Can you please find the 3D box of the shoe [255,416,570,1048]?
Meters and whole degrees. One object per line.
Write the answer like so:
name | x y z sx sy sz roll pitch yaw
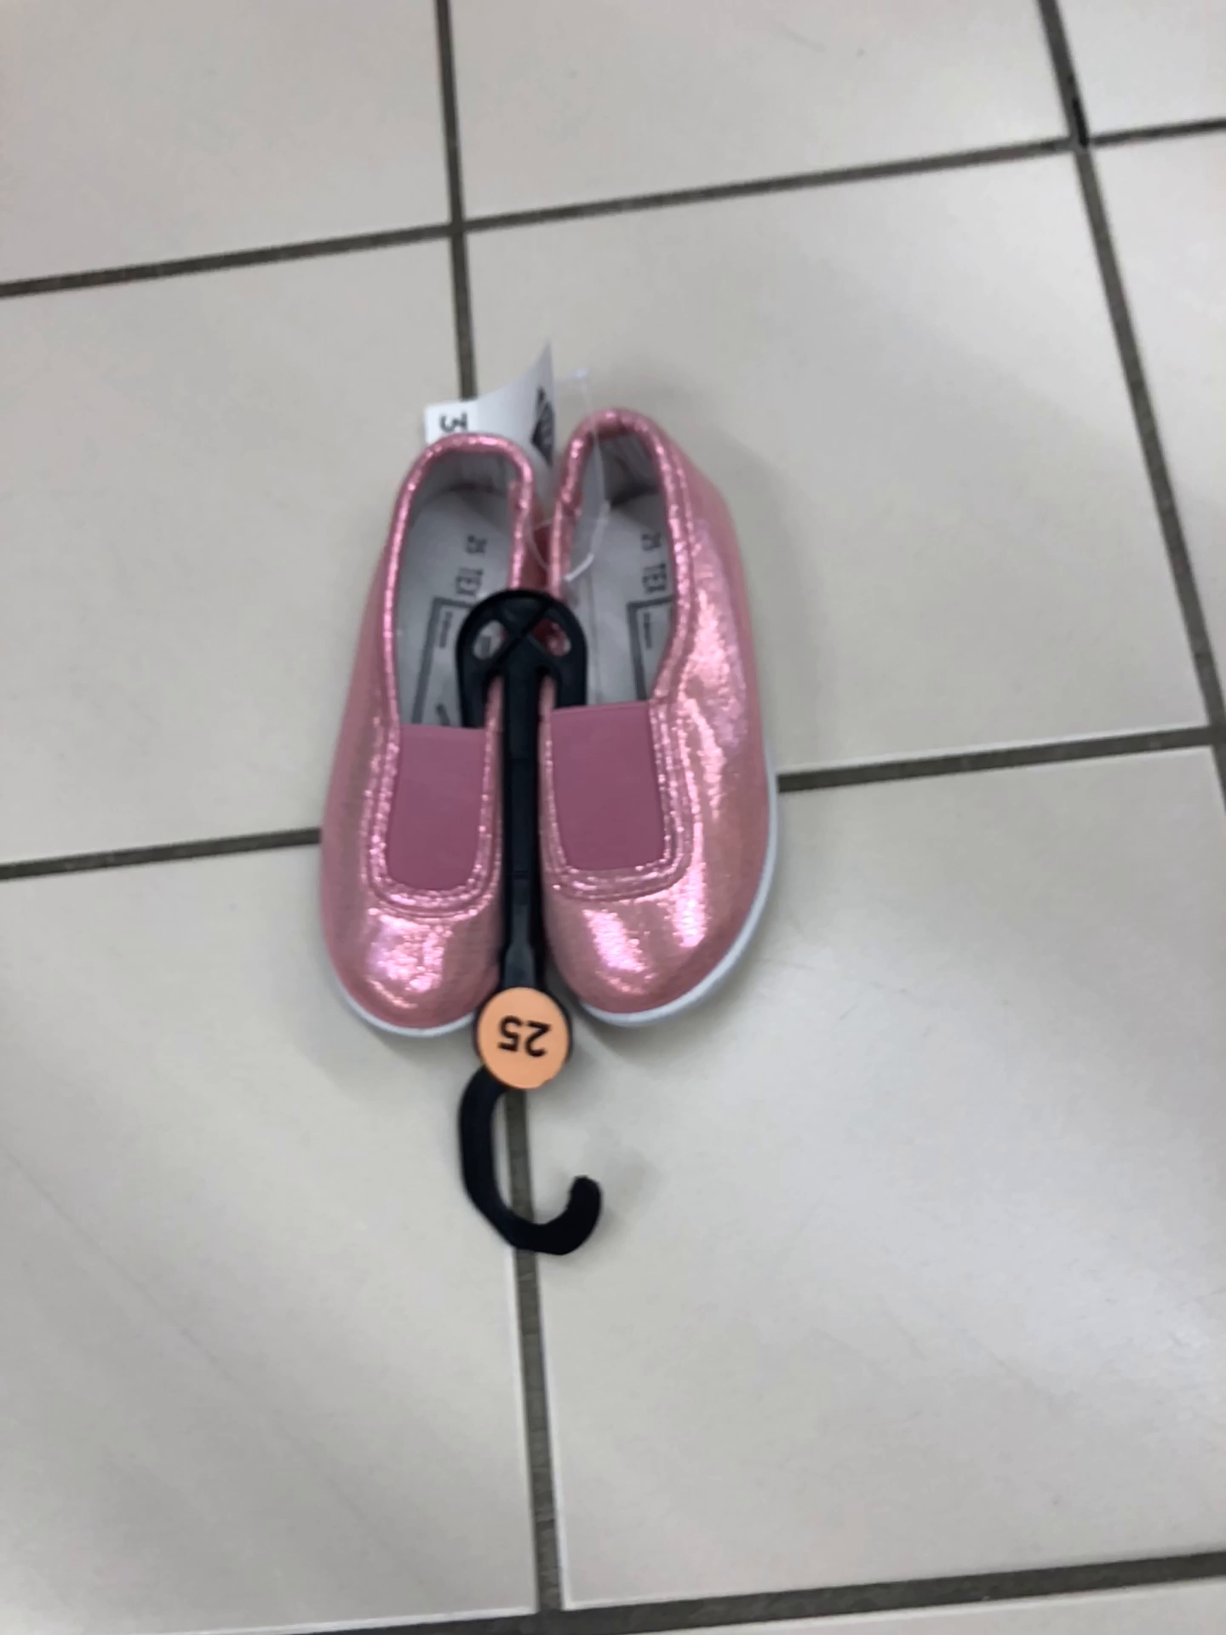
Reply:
shoe | -0.049 -0.023 0.368 0.059 0.051 0.161 2 73 5

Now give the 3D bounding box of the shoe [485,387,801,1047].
shoe | 0.006 -0.026 0.364 0.069 0.050 0.164 -4 72 3
